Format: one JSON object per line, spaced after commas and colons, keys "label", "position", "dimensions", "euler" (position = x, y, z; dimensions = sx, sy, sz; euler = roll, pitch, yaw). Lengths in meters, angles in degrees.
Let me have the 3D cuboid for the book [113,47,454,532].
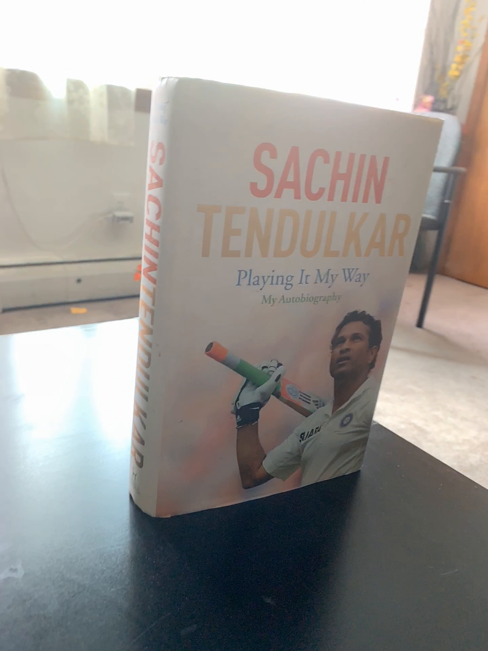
{"label": "book", "position": [0.016, -0.015, 0.304], "dimensions": [0.170, 0.239, 0.060], "euler": [-4, 22, -28]}
